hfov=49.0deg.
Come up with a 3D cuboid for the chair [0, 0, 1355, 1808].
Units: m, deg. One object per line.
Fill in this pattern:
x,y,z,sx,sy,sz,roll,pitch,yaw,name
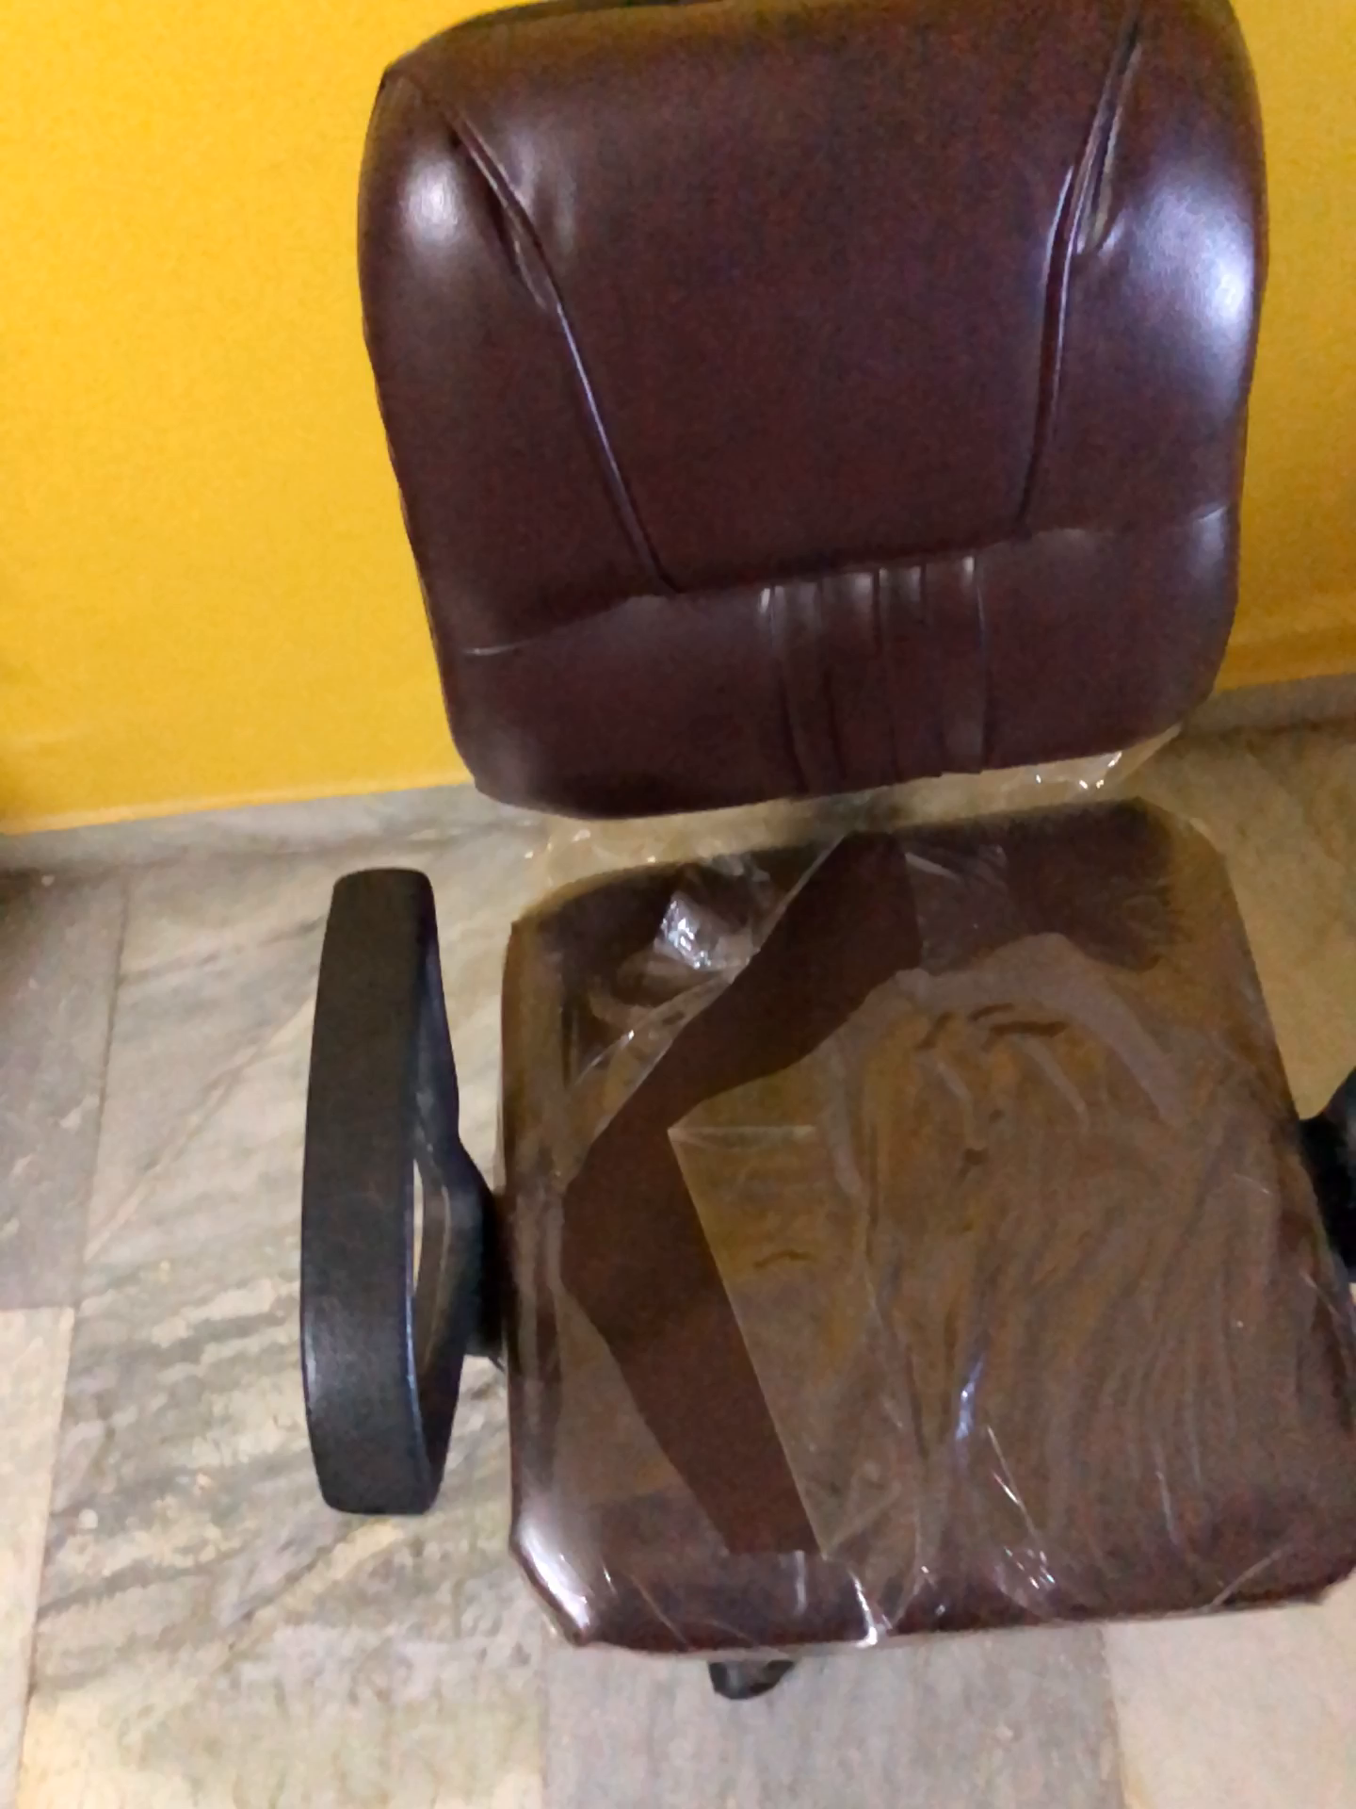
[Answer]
0.106,0.098,0.841,0.690,0.977,0.683,-10,64,5,chair
